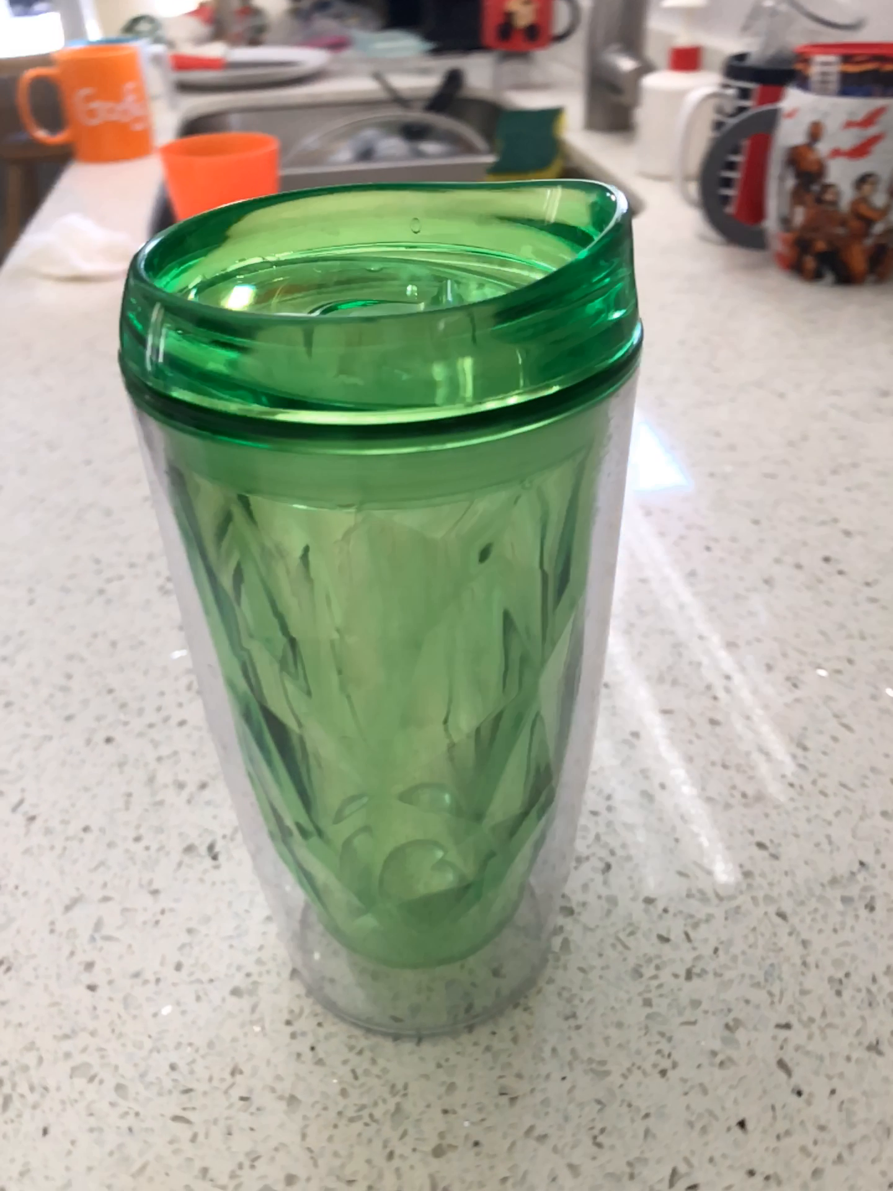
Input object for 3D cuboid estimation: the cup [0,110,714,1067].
[{"bbox_3d":[-0.009,0.002,0.196,0.090,0.159,0.090,-2,34,1],"label":"cup"}]
